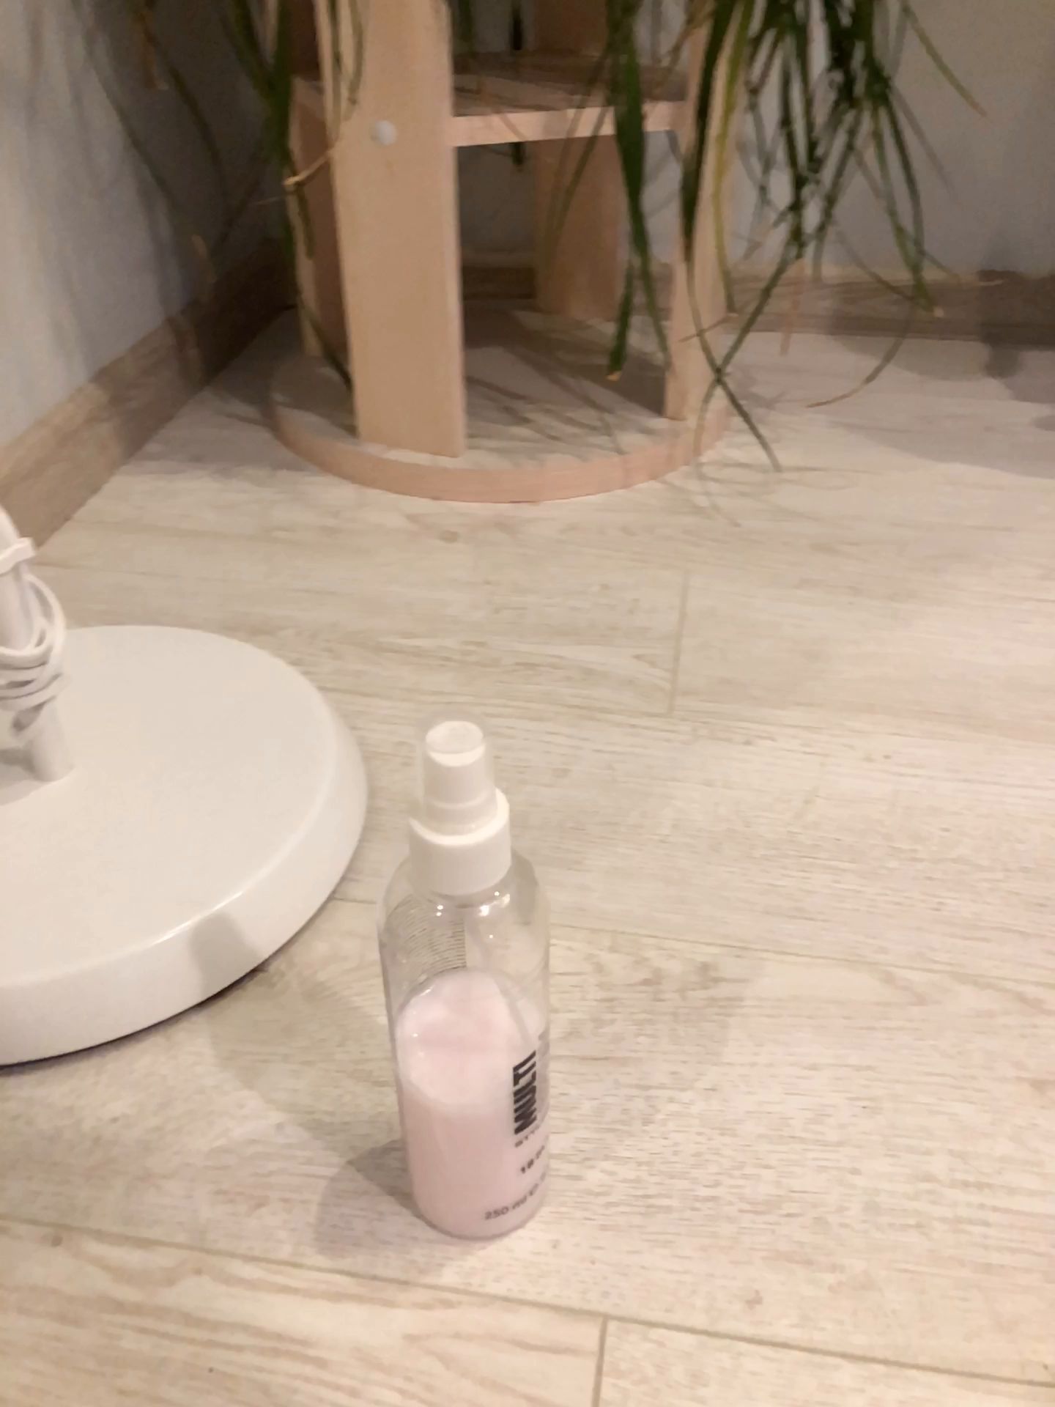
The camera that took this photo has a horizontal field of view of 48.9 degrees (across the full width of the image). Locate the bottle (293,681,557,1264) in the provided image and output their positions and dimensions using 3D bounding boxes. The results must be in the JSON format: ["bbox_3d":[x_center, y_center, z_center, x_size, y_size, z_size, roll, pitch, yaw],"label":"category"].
[{"bbox_3d":[-0.022,0.086,0.339,0.054,0.183,0.049,5,35,9],"label":"bottle"}]
